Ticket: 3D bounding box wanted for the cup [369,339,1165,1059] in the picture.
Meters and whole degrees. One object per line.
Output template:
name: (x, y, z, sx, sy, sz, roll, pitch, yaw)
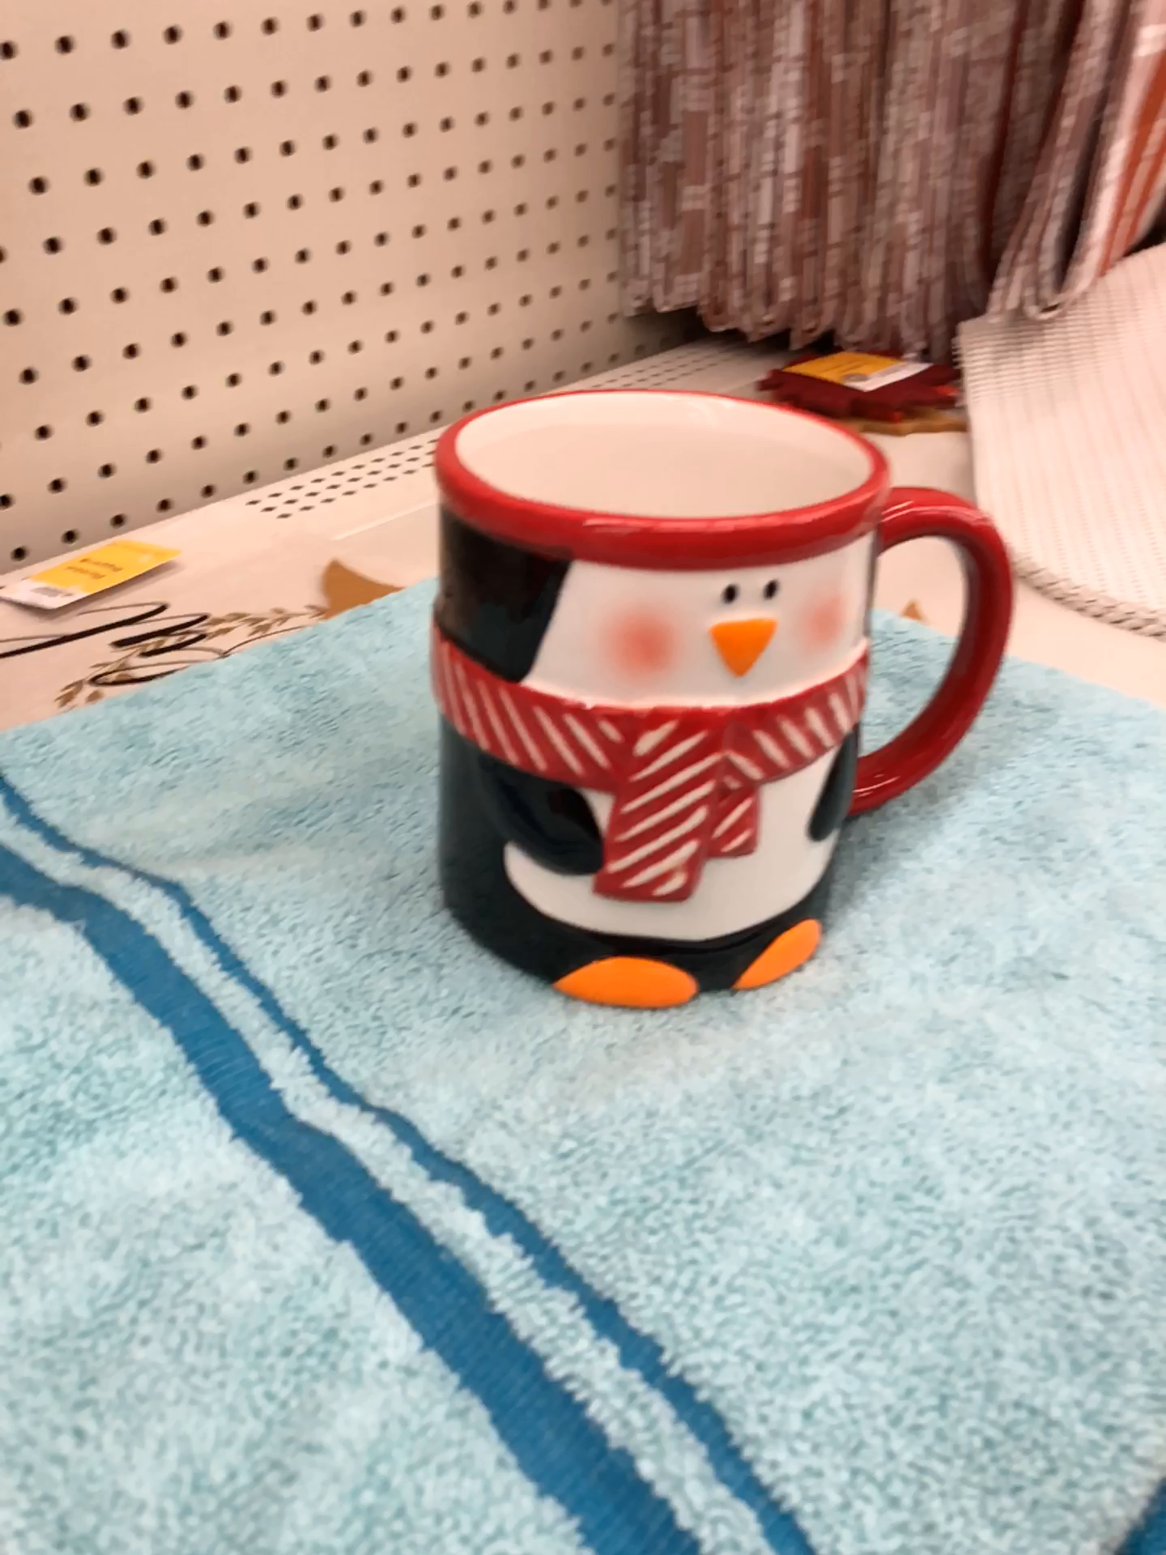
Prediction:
cup: (0.031, -0.025, 0.279, 0.130, 0.110, 0.090, -10, 32, -17)
